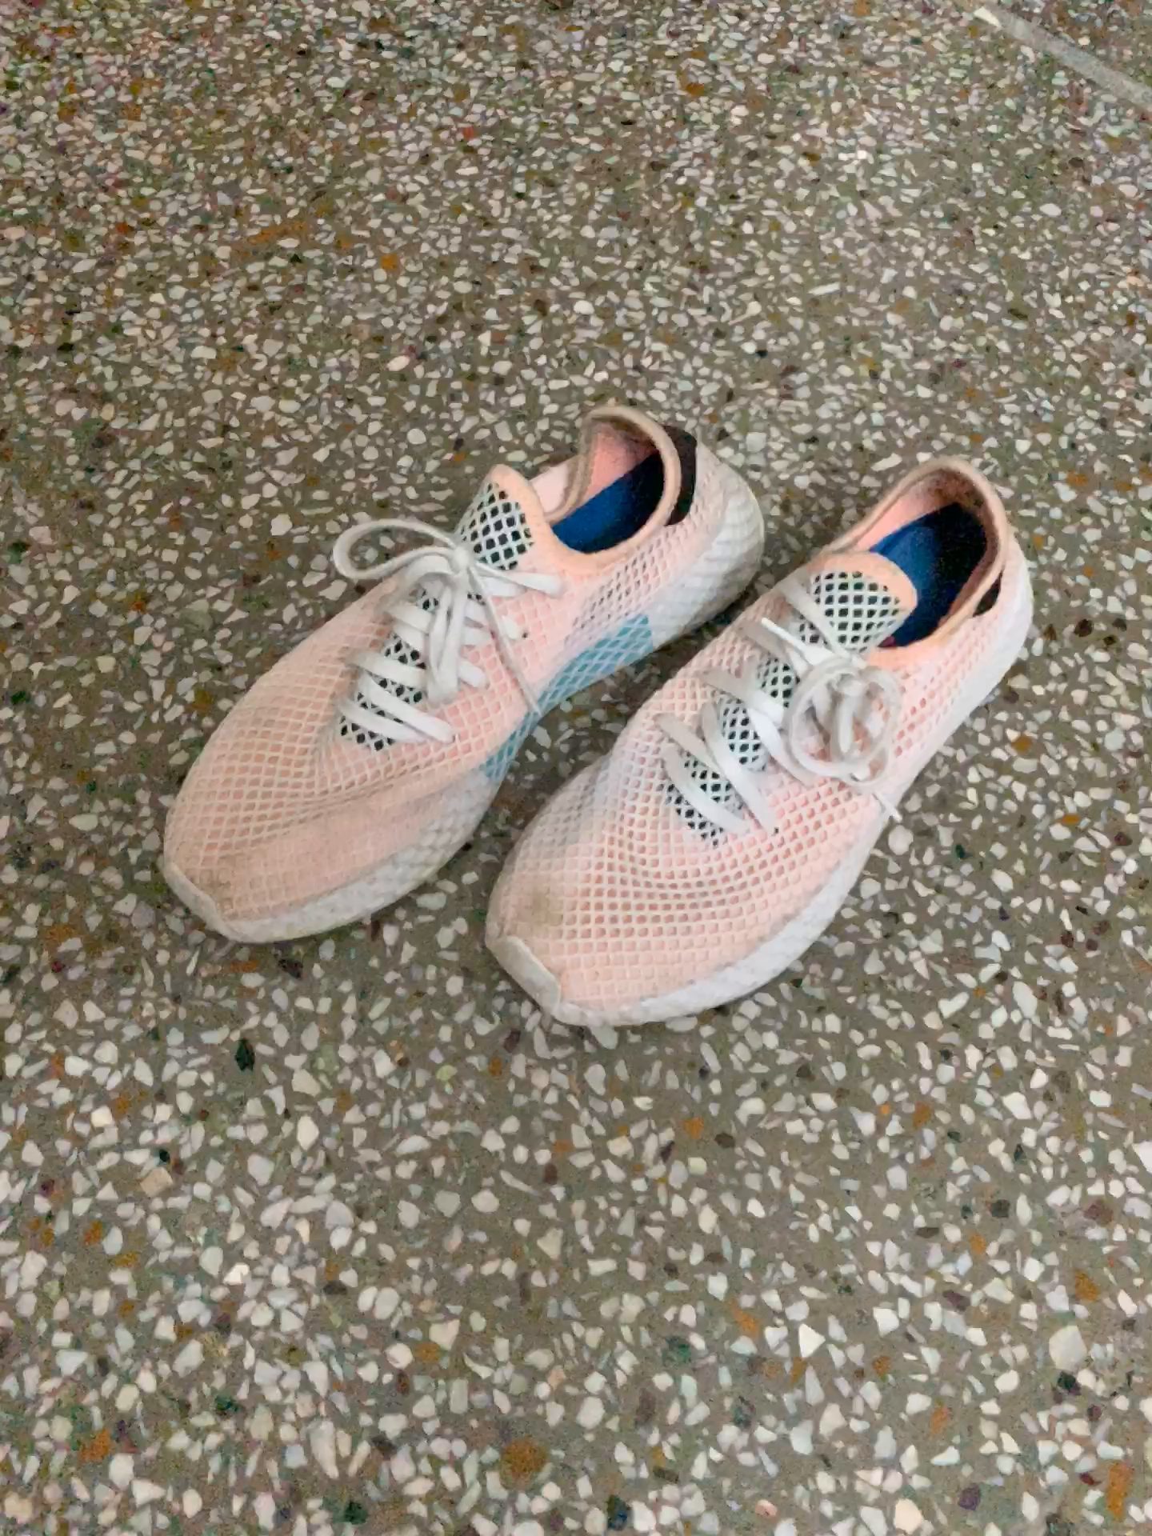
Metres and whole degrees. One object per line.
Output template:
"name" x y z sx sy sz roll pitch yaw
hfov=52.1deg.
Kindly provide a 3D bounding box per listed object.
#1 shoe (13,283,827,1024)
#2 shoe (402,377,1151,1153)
"shoe" -0.050 -0.057 0.497 0.122 0.100 0.309 41 69 18
"shoe" 0.087 -0.010 0.489 0.122 0.100 0.309 39 68 17
